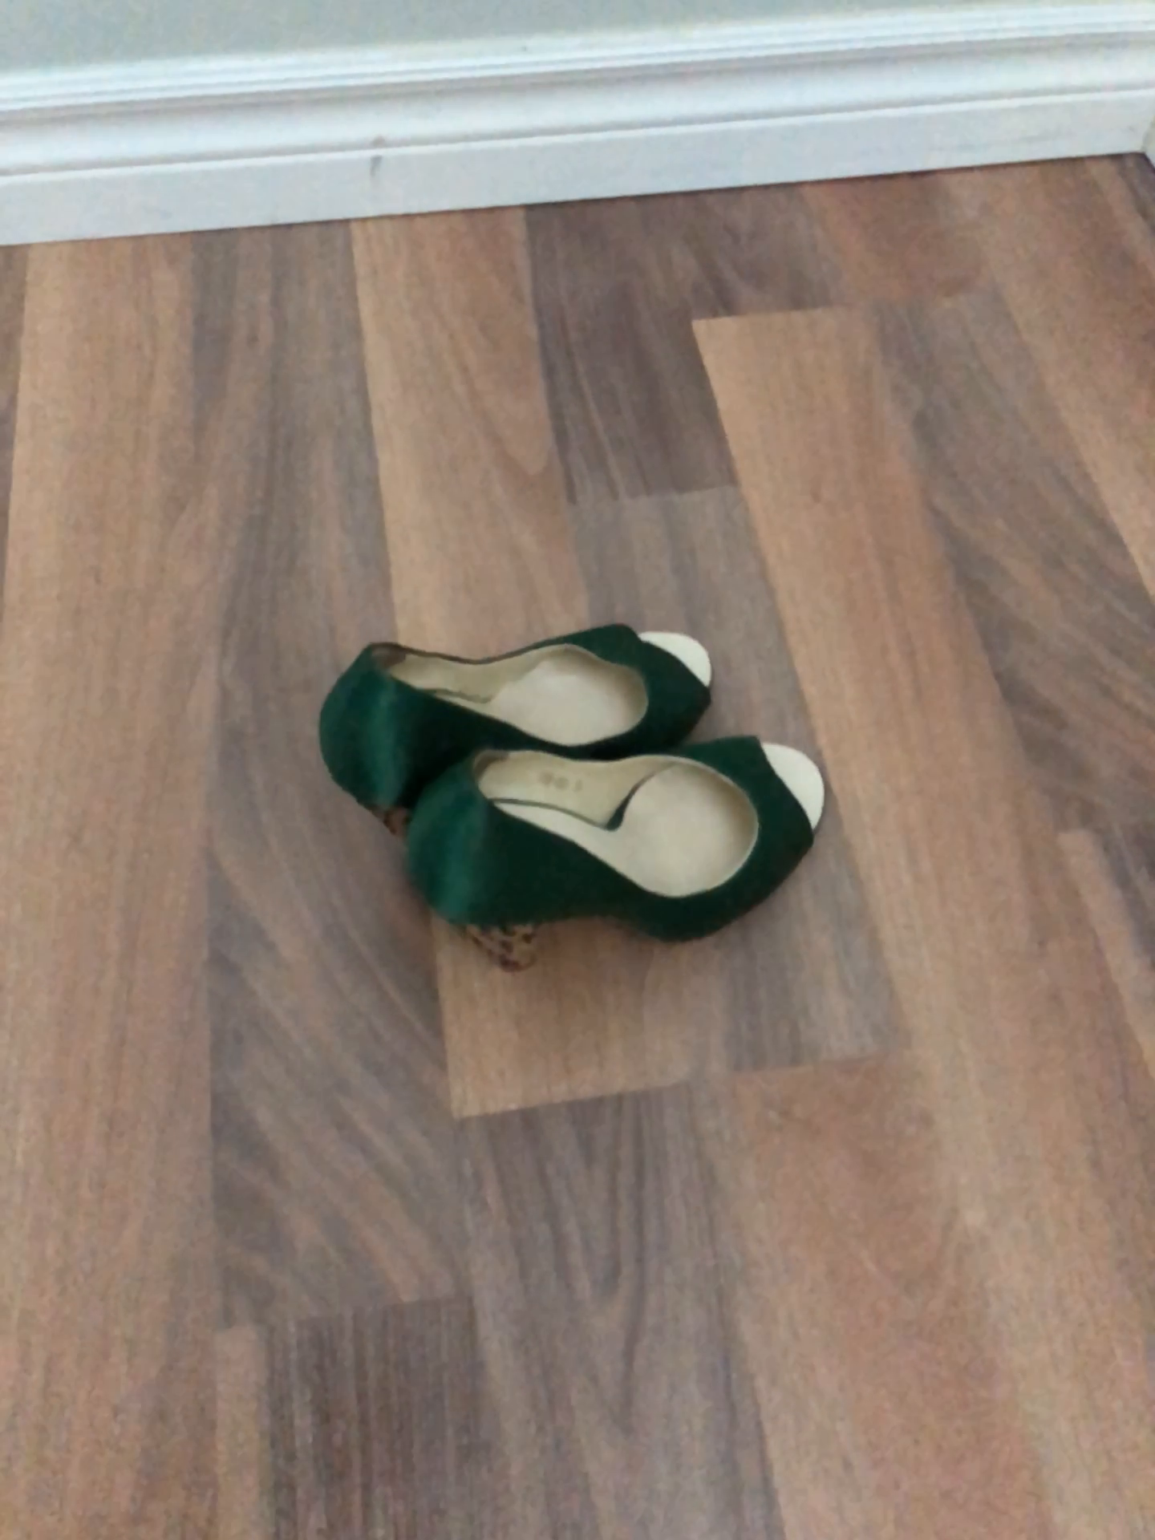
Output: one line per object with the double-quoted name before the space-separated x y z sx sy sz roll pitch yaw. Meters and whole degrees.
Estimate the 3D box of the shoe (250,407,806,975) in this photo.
"shoe" -0.016 -0.034 0.555 0.210 0.130 0.090 -38 67 -21

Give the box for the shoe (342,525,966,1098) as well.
"shoe" 0.029 0.018 0.514 0.210 0.130 0.090 -30 64 -18
